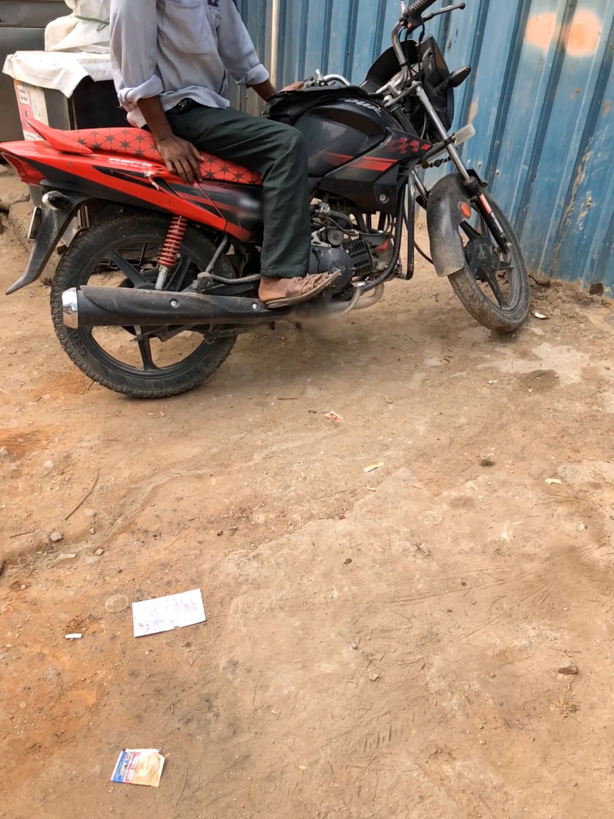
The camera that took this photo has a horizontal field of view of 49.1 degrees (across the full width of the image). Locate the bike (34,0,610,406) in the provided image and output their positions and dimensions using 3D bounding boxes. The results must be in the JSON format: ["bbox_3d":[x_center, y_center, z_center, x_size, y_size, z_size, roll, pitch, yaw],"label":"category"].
[{"bbox_3d":[-0.017,-0.930,2.328,1.633,1.129,0.738,-15,36,-17],"label":"bike"}]
